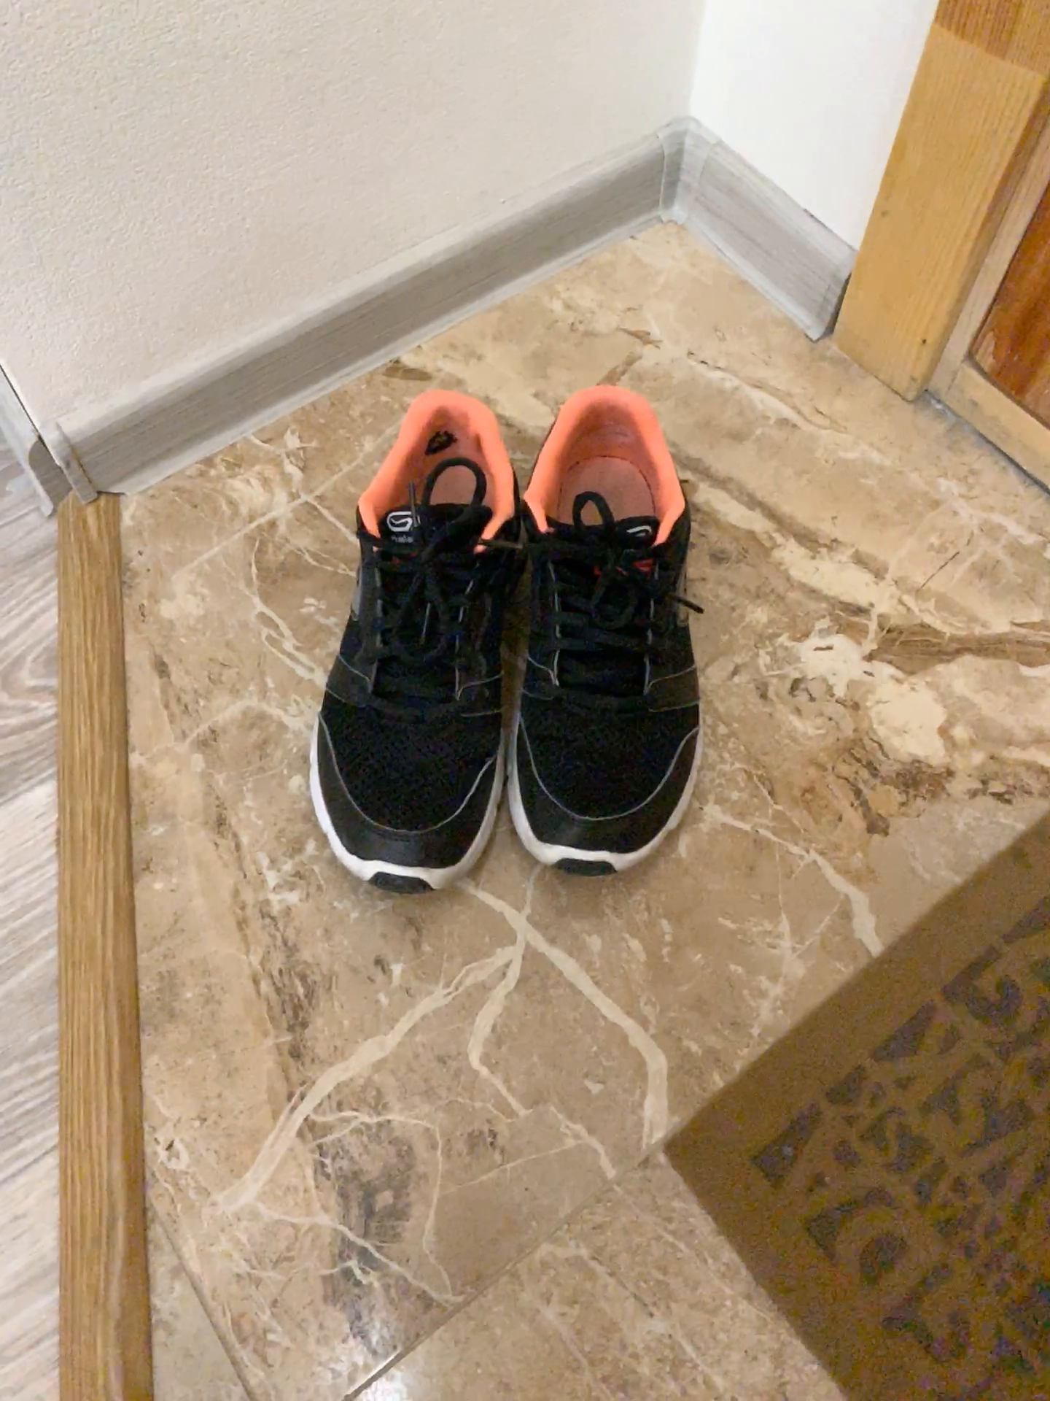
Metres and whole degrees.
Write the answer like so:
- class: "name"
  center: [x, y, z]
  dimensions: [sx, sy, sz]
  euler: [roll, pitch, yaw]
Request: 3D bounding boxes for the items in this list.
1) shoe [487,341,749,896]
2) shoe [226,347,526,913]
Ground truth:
- class: "shoe"
  center: [0.043, -0.043, 0.515]
  dimensions: [0.100, 0.100, 0.245]
  euler: [3, 61, 2]
- class: "shoe"
  center: [-0.057, -0.038, 0.515]
  dimensions: [0.100, 0.100, 0.251]
  euler: [3, 61, 2]
